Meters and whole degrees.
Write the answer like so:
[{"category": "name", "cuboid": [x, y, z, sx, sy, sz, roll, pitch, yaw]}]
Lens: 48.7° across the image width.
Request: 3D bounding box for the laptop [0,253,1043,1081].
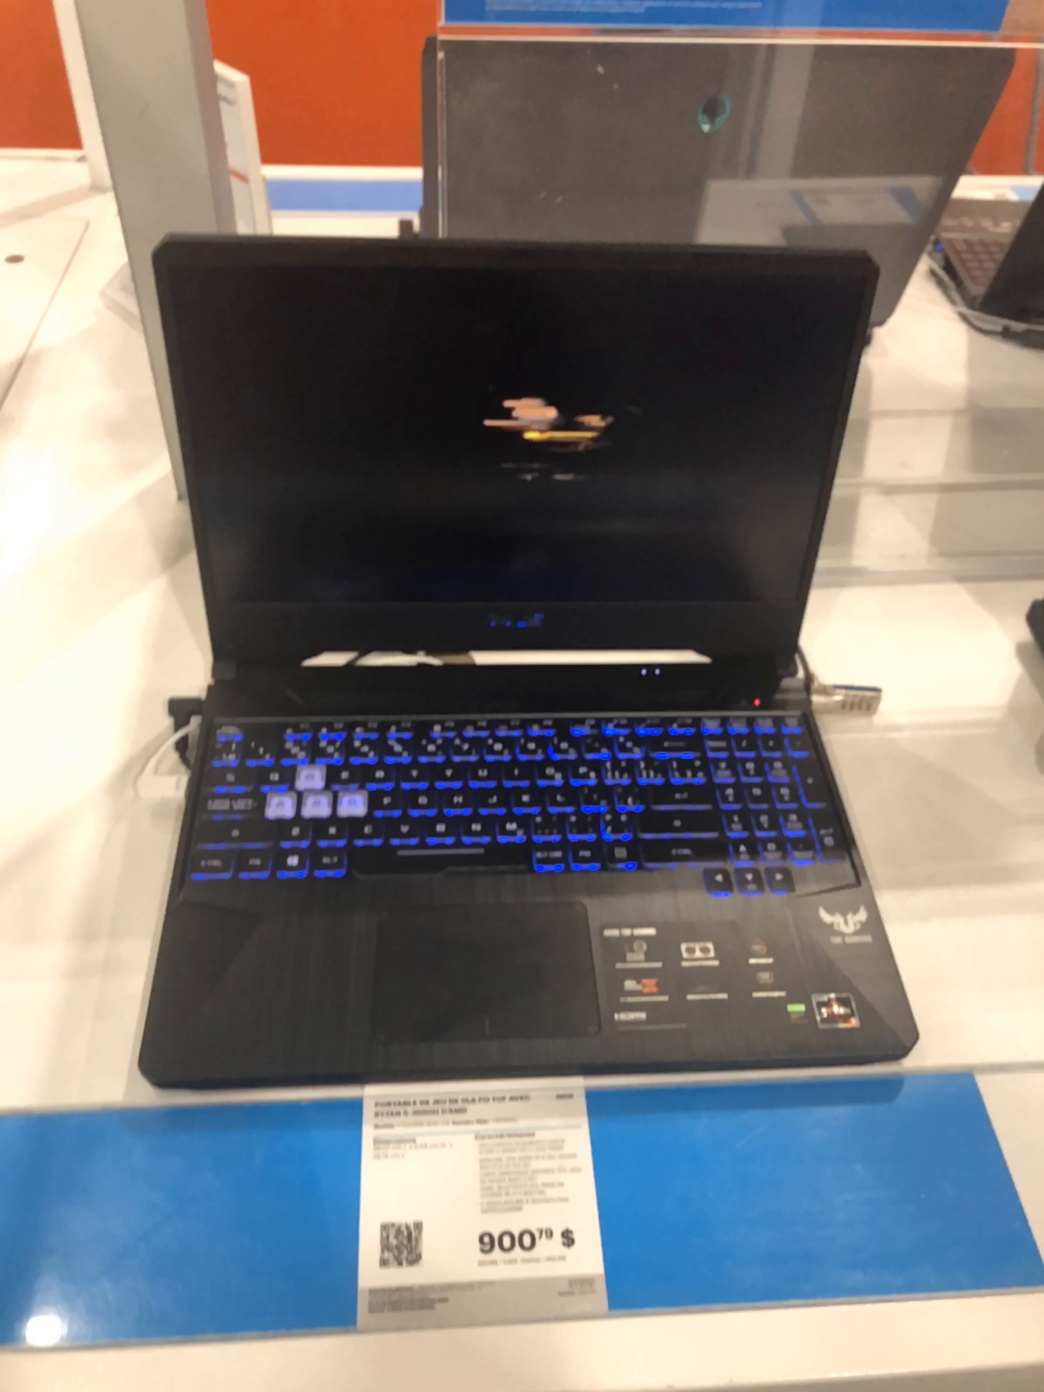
[{"category": "laptop", "cuboid": [0.006, -0.026, 0.549, 0.350, 0.235, 0.302, -1, 45, -4]}]
